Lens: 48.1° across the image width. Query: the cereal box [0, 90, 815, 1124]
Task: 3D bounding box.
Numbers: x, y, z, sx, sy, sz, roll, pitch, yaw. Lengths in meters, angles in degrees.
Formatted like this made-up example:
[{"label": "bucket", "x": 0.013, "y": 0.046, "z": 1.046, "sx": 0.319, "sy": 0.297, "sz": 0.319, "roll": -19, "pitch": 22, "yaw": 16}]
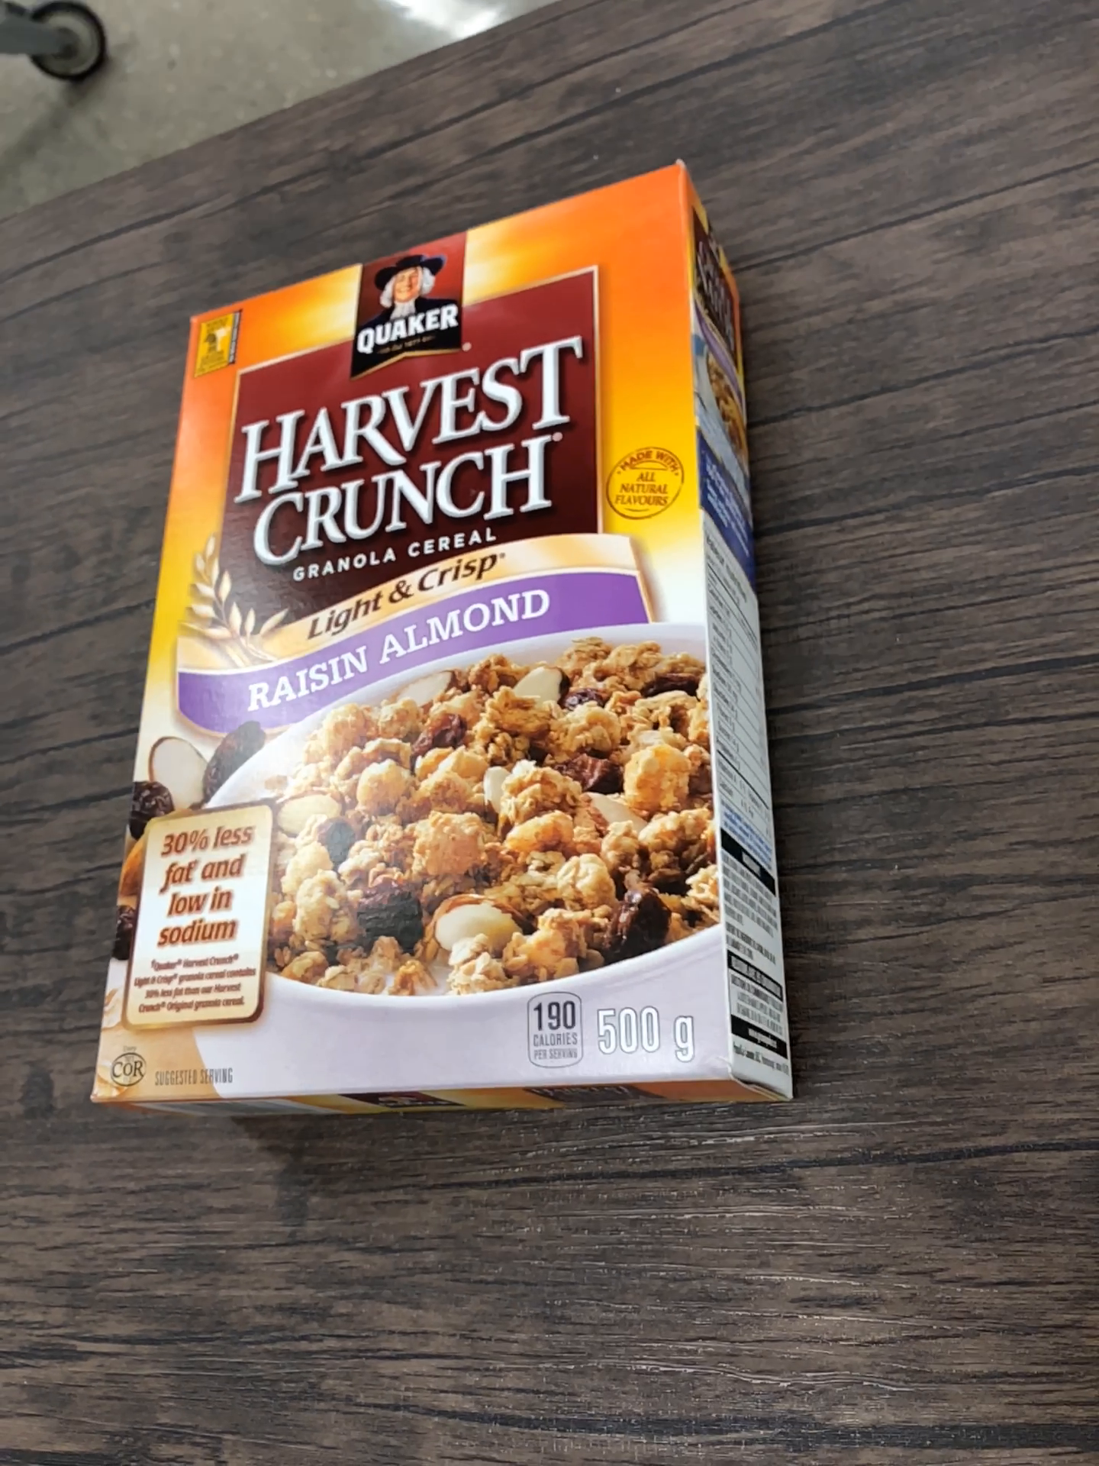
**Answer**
[{"label": "cereal box", "x": -0.038, "y": -0.026, "z": 0.308, "sx": 0.180, "sy": 0.050, "sz": 0.230, "roll": -8, "pitch": 68, "yaw": 21}]
